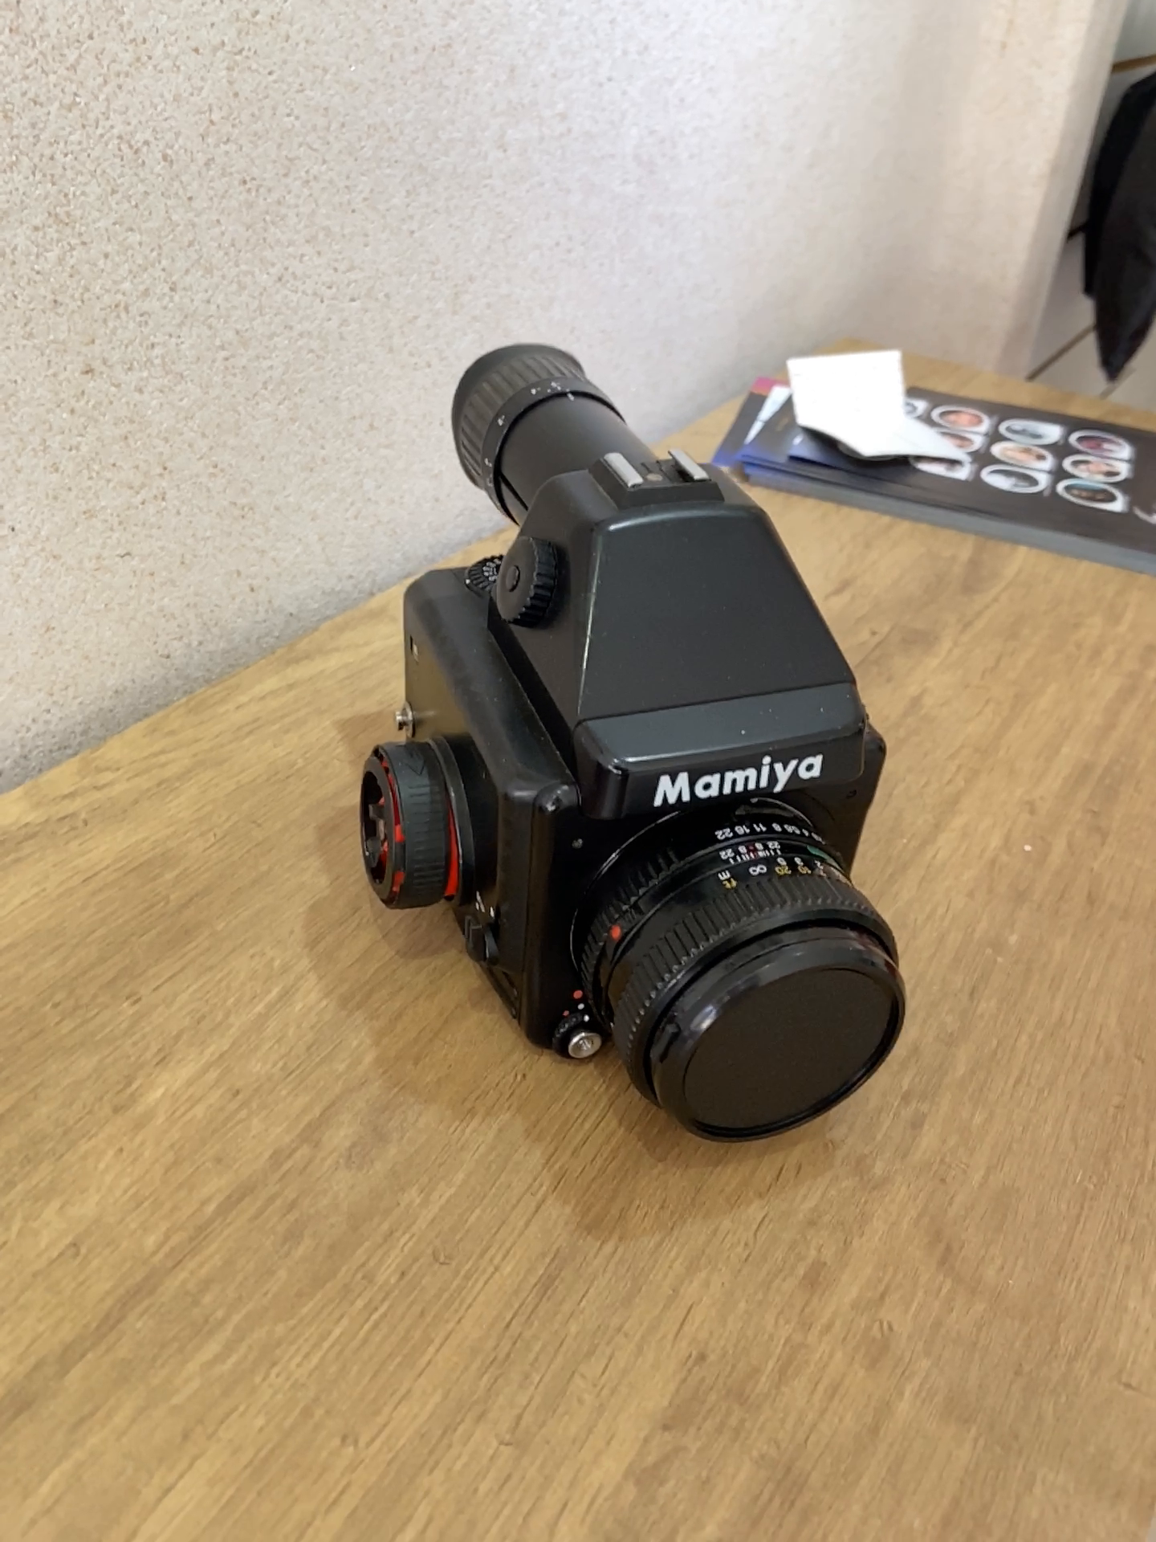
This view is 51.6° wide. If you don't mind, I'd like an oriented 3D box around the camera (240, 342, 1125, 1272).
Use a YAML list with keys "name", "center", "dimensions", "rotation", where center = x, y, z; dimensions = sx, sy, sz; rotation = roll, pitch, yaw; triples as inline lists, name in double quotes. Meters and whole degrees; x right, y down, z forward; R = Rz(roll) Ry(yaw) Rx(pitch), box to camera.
- name: "camera"
  center: [-0.001, -0.018, 0.309]
  dimensions: [0.120, 0.109, 0.221]
  rotation: [-11, 39, -20]
